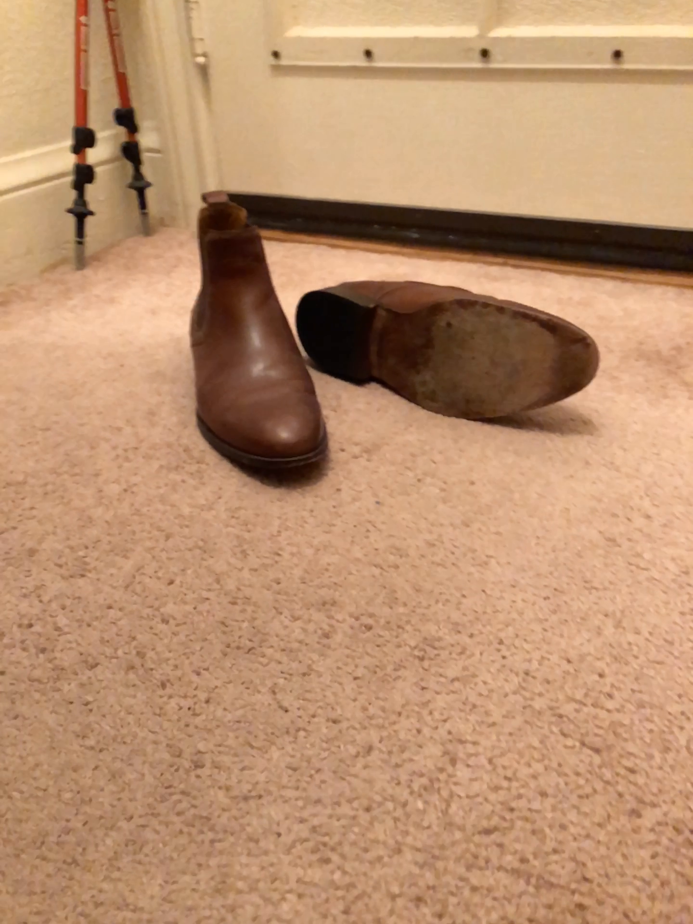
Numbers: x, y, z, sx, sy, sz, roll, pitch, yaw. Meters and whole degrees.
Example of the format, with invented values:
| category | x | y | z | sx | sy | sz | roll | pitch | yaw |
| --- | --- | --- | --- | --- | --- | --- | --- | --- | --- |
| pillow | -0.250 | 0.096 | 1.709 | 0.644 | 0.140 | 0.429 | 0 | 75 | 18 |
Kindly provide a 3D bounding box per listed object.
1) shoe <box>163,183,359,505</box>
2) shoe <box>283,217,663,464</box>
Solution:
| category | x | y | z | sx | sy | sz | roll | pitch | yaw |
| --- | --- | --- | --- | --- | --- | --- | --- | --- | --- |
| shoe | -0.083 | -0.121 | 0.663 | 0.109 | 0.158 | 0.298 | -10 | 34 | -11 |
| shoe | 0.112 | -0.131 | 0.723 | 0.296 | 0.118 | 0.170 | 20 | 38 | 29 |
